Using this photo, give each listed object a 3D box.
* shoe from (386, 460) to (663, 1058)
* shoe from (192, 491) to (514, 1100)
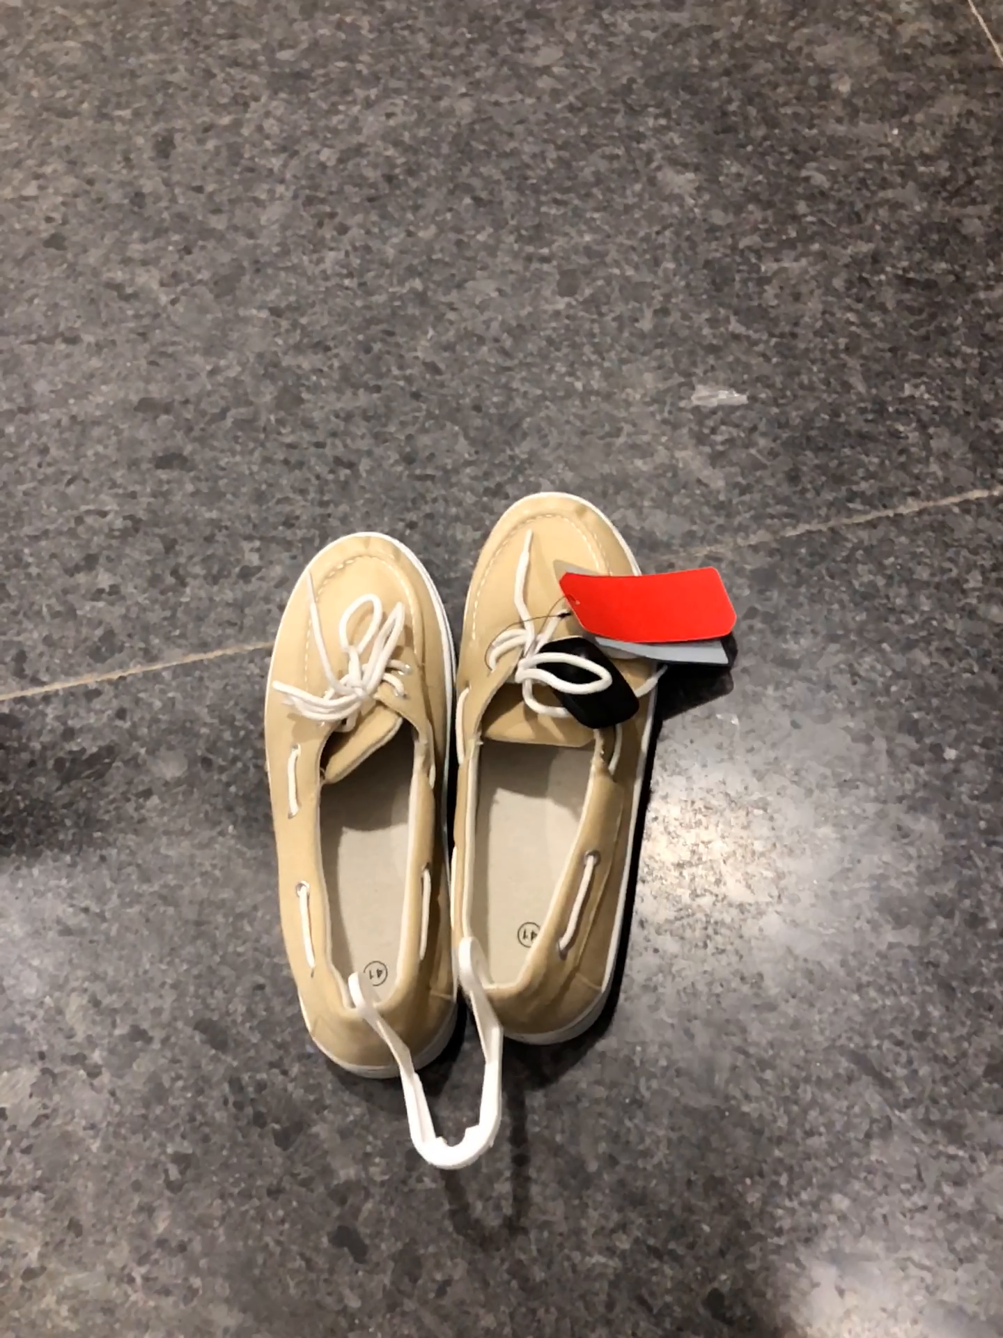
[{"bbox_3d":[0.021,0.039,0.500,0.096,0.106,0.243,-1,63,11],"label":"shoe"},{"bbox_3d":[-0.065,0.056,0.505,0.103,0.106,0.243,-9,62,6],"label":"shoe"}]
